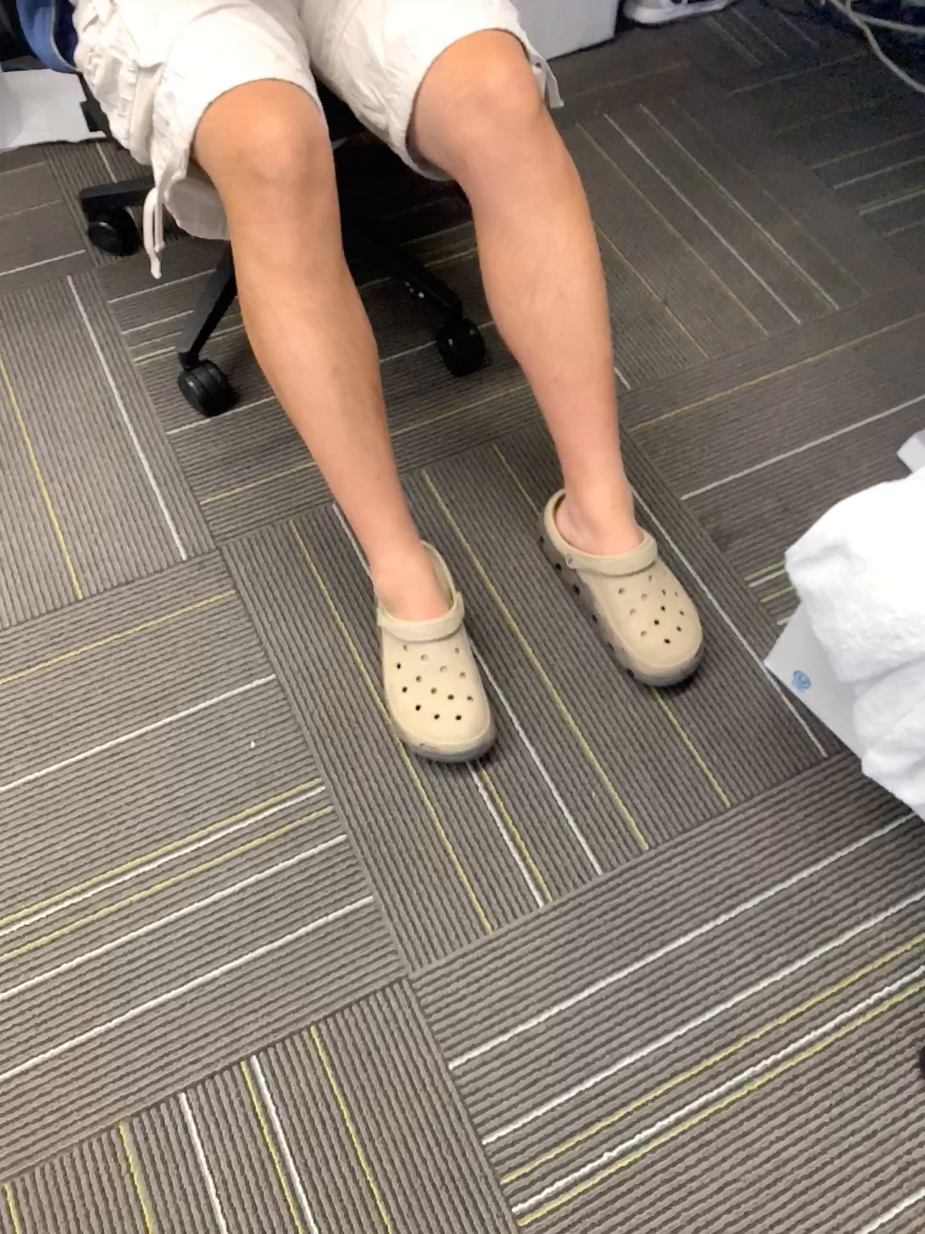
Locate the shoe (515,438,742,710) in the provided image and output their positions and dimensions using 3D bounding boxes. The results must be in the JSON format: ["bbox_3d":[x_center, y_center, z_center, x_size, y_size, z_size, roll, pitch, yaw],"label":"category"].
[{"bbox_3d":[0.200,-0.063,1.209,0.140,0.080,0.331,-19,62,-11],"label":"shoe"}]

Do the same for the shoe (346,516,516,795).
[{"bbox_3d":[-0.044,0.039,1.161,0.134,0.080,0.321,-12,61,-7],"label":"shoe"}]
